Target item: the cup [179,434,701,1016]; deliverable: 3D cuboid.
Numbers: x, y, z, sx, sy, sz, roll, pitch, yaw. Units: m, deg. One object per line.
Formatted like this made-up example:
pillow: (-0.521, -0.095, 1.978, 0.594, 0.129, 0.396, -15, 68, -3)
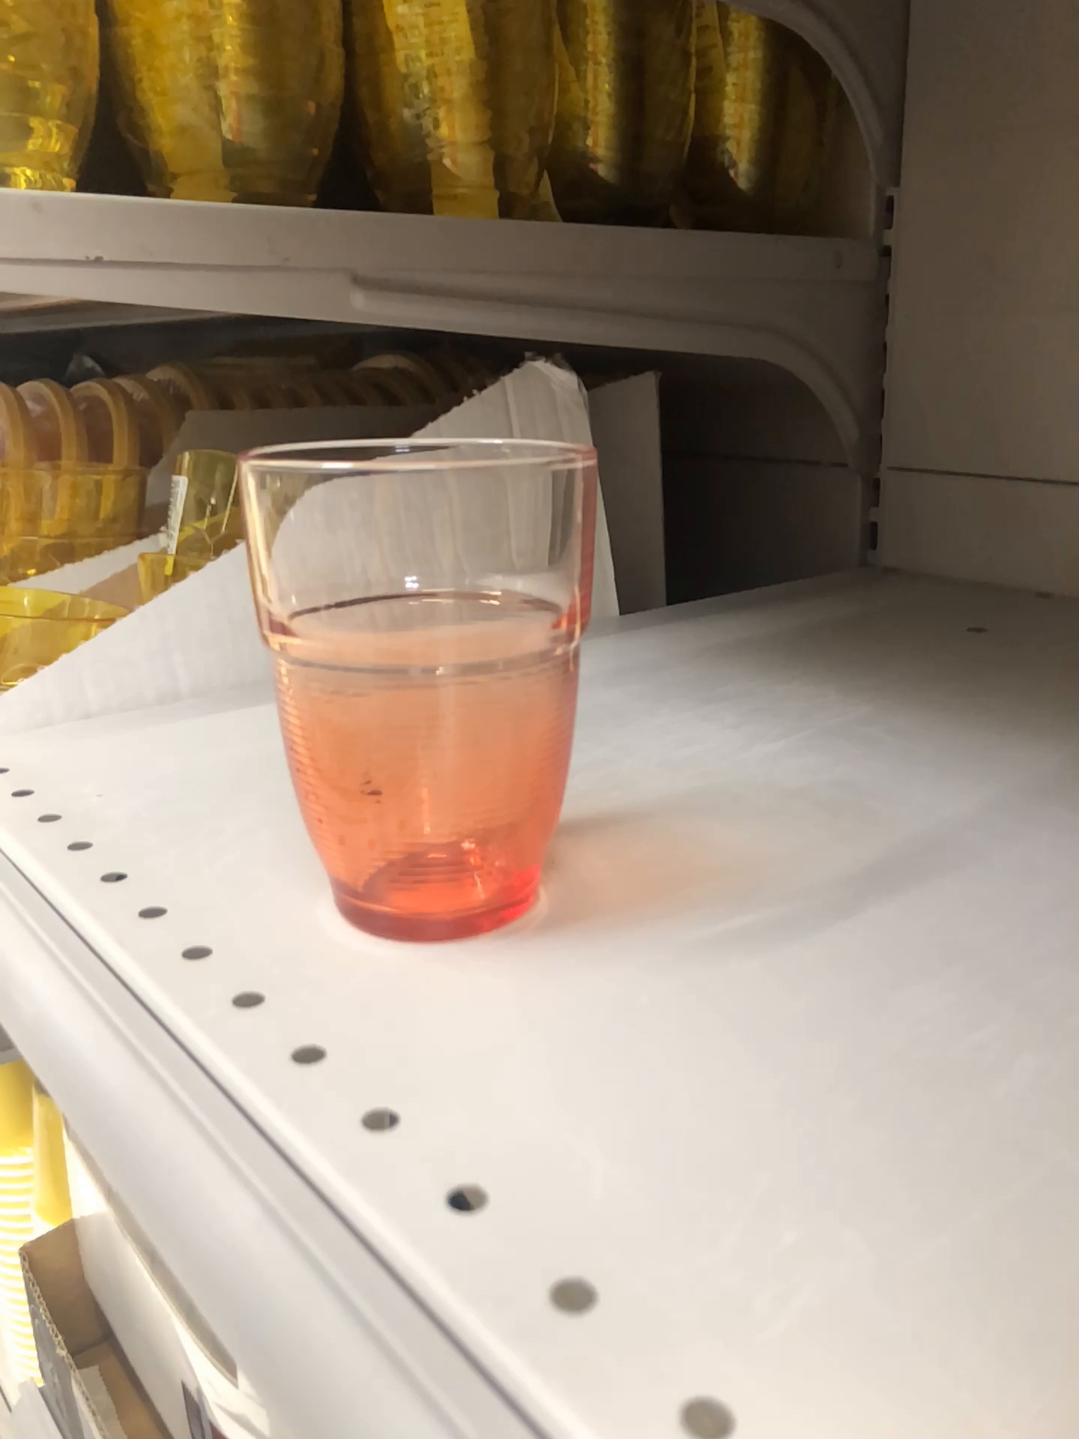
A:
cup: (-0.018, -0.007, 0.260, 0.080, 0.100, 0.075, 0, 17, 0)
